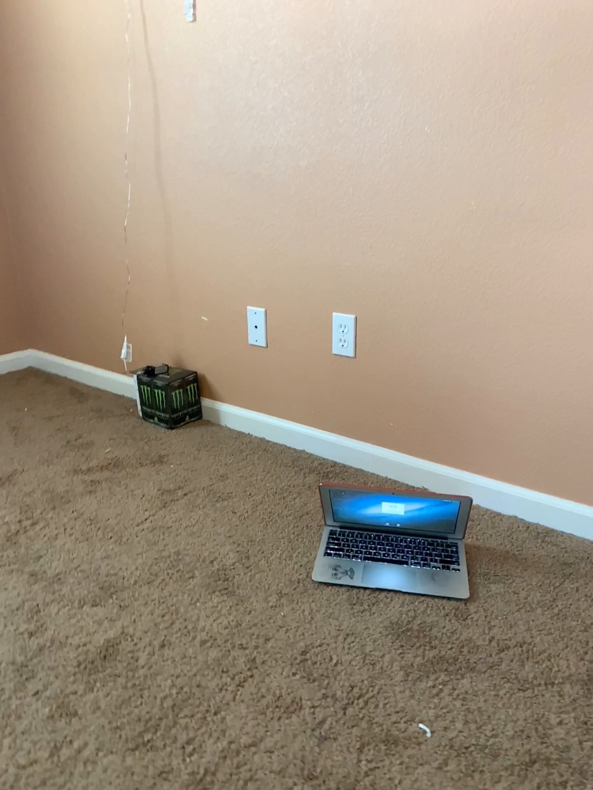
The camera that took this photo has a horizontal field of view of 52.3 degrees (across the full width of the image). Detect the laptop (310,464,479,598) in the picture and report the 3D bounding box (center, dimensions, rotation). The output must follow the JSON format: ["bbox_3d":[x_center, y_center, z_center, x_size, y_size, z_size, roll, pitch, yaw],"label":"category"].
[{"bbox_3d":[0.189,0.257,1.188,0.298,0.148,0.194,3,20,11],"label":"laptop"}]
